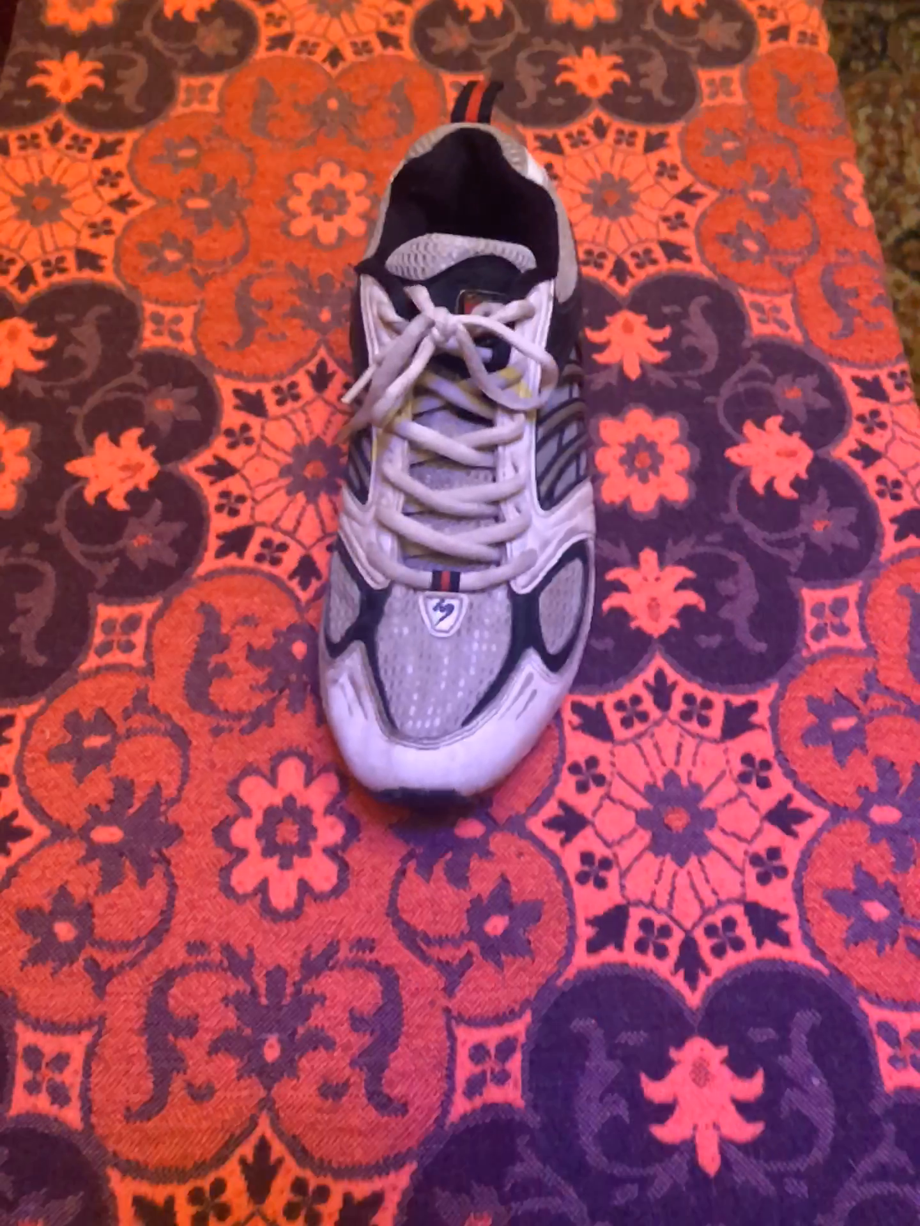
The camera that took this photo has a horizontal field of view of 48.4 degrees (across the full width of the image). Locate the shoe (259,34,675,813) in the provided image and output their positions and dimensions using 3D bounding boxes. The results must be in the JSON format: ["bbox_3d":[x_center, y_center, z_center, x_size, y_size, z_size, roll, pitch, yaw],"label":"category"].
[{"bbox_3d":[0.004,-0.086,0.405,0.120,0.090,0.311,0,64,1],"label":"shoe"}]
